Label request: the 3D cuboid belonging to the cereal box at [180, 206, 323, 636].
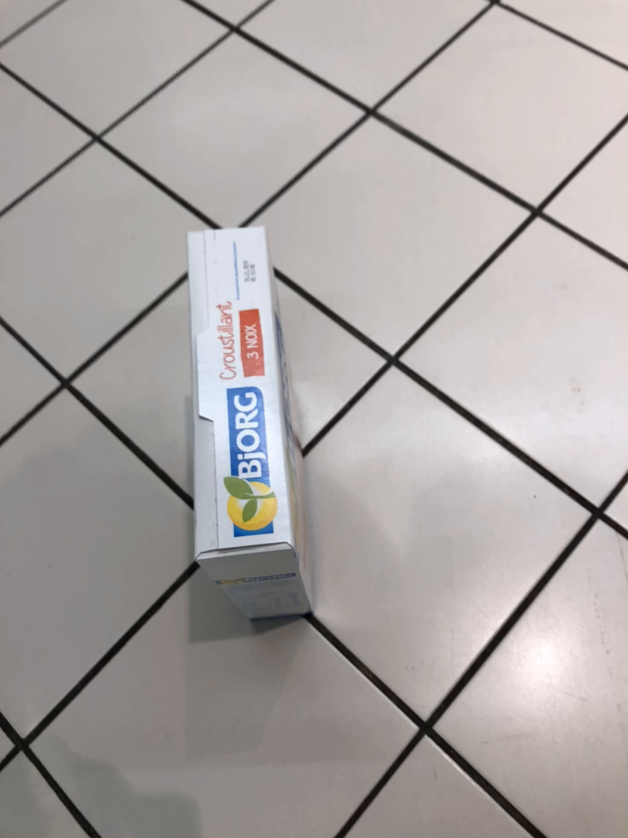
[{"bbox_3d":[-0.035,0.019,0.461,0.060,0.219,0.211,-5,67,-1],"label":"cereal box"}]
